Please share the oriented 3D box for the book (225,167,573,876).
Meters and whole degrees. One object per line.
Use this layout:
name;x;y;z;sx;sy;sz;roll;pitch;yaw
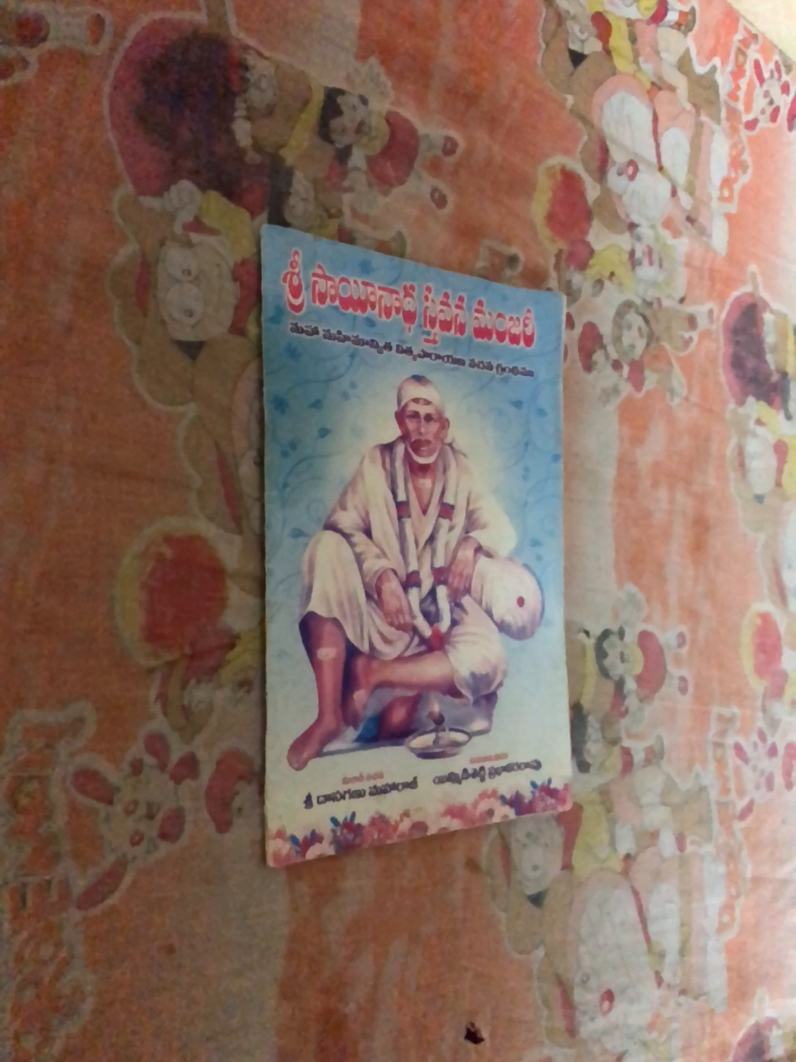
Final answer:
book;0.008;-0.002;0.325;0.141;0.020;0.220;4;85;-37
